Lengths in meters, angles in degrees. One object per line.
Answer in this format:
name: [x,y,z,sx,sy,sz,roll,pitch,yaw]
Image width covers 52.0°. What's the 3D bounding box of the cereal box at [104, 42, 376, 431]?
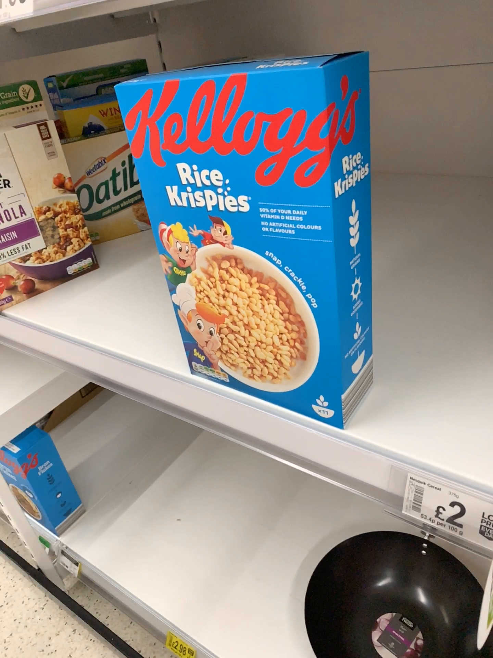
cereal box: [0.005,-0.074,0.455,0.201,0.297,0.070,15,39,35]
